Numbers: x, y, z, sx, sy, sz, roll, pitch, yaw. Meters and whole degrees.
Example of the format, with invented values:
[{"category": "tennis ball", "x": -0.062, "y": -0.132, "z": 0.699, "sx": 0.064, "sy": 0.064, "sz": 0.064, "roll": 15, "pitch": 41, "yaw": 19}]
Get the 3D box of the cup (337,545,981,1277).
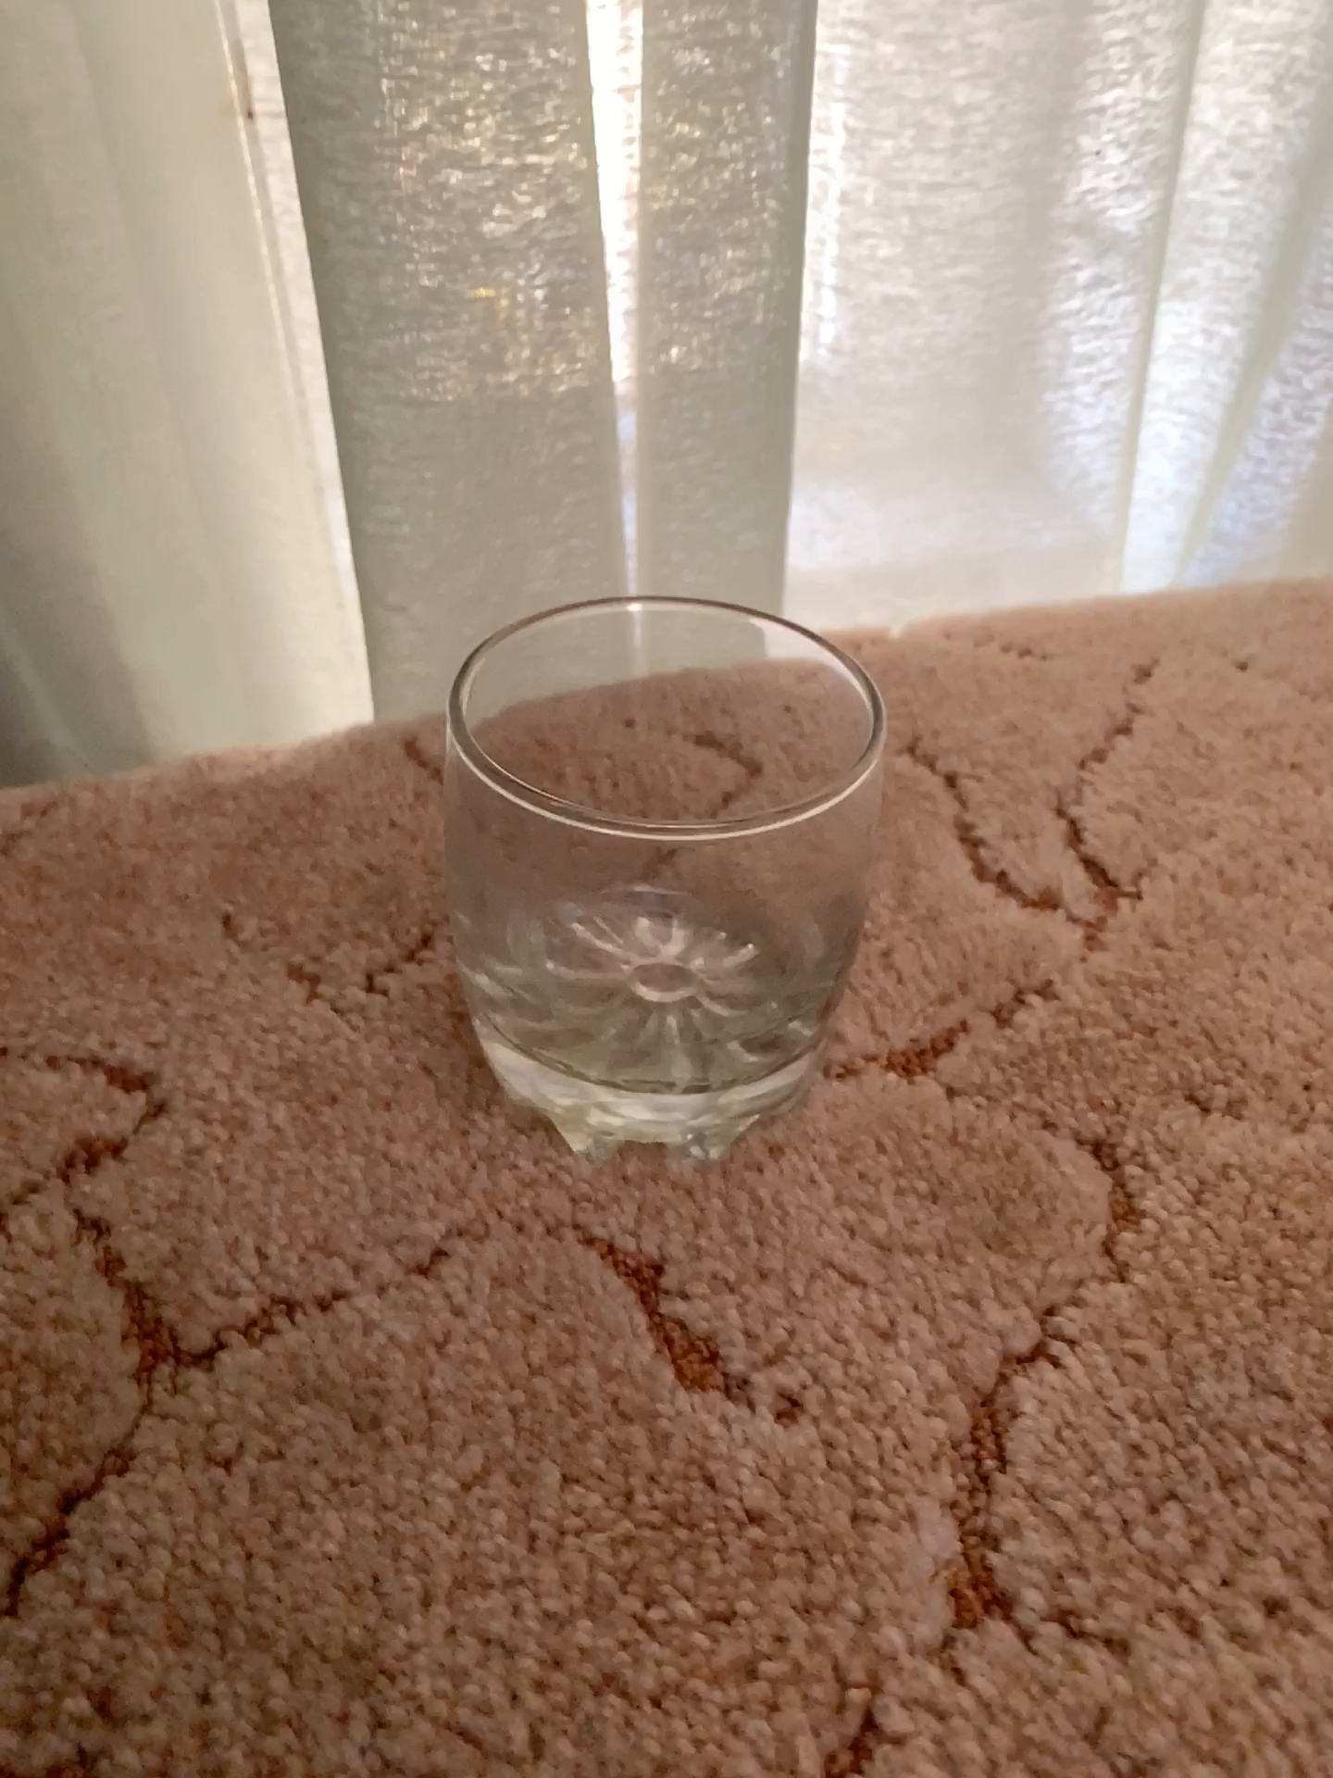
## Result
[{"category": "cup", "x": -0.003, "y": -0.001, "z": 0.276, "sx": 0.080, "sy": 0.089, "sz": 0.091, "roll": -23, "pitch": 43, "yaw": -24}]
